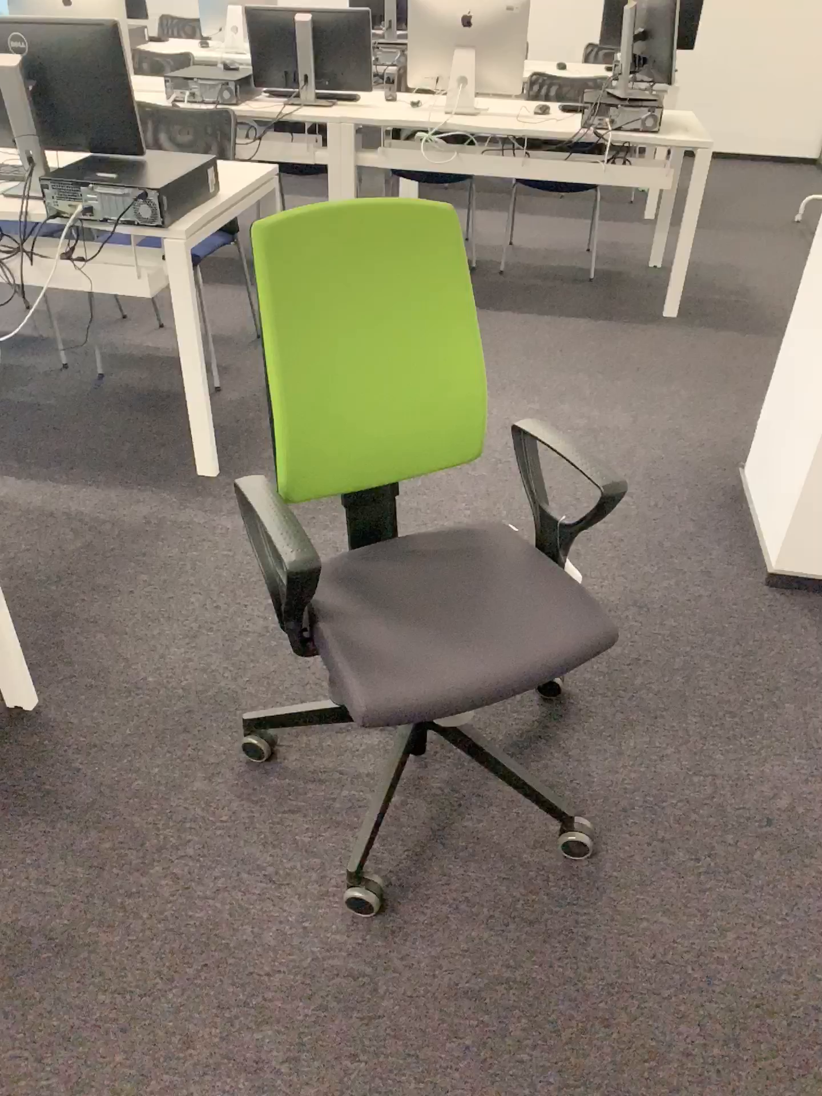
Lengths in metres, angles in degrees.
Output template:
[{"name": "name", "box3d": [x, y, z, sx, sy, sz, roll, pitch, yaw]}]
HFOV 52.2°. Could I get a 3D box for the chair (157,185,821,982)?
[{"name": "chair", "box3d": [0.074, 0.027, 1.473, 0.721, 1.054, 0.673, -16, 39, -23]}]
